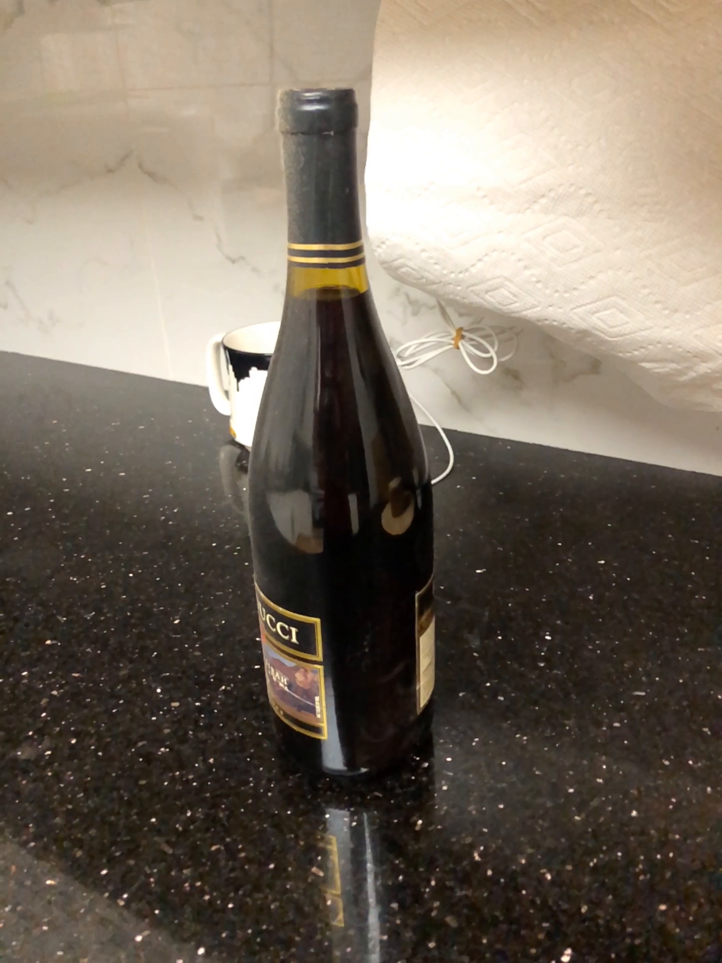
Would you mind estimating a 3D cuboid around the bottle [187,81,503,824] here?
[{"bbox_3d":[-0.005,-0.005,0.347,0.090,0.298,0.090,-2,26,1],"label":"bottle"}]
